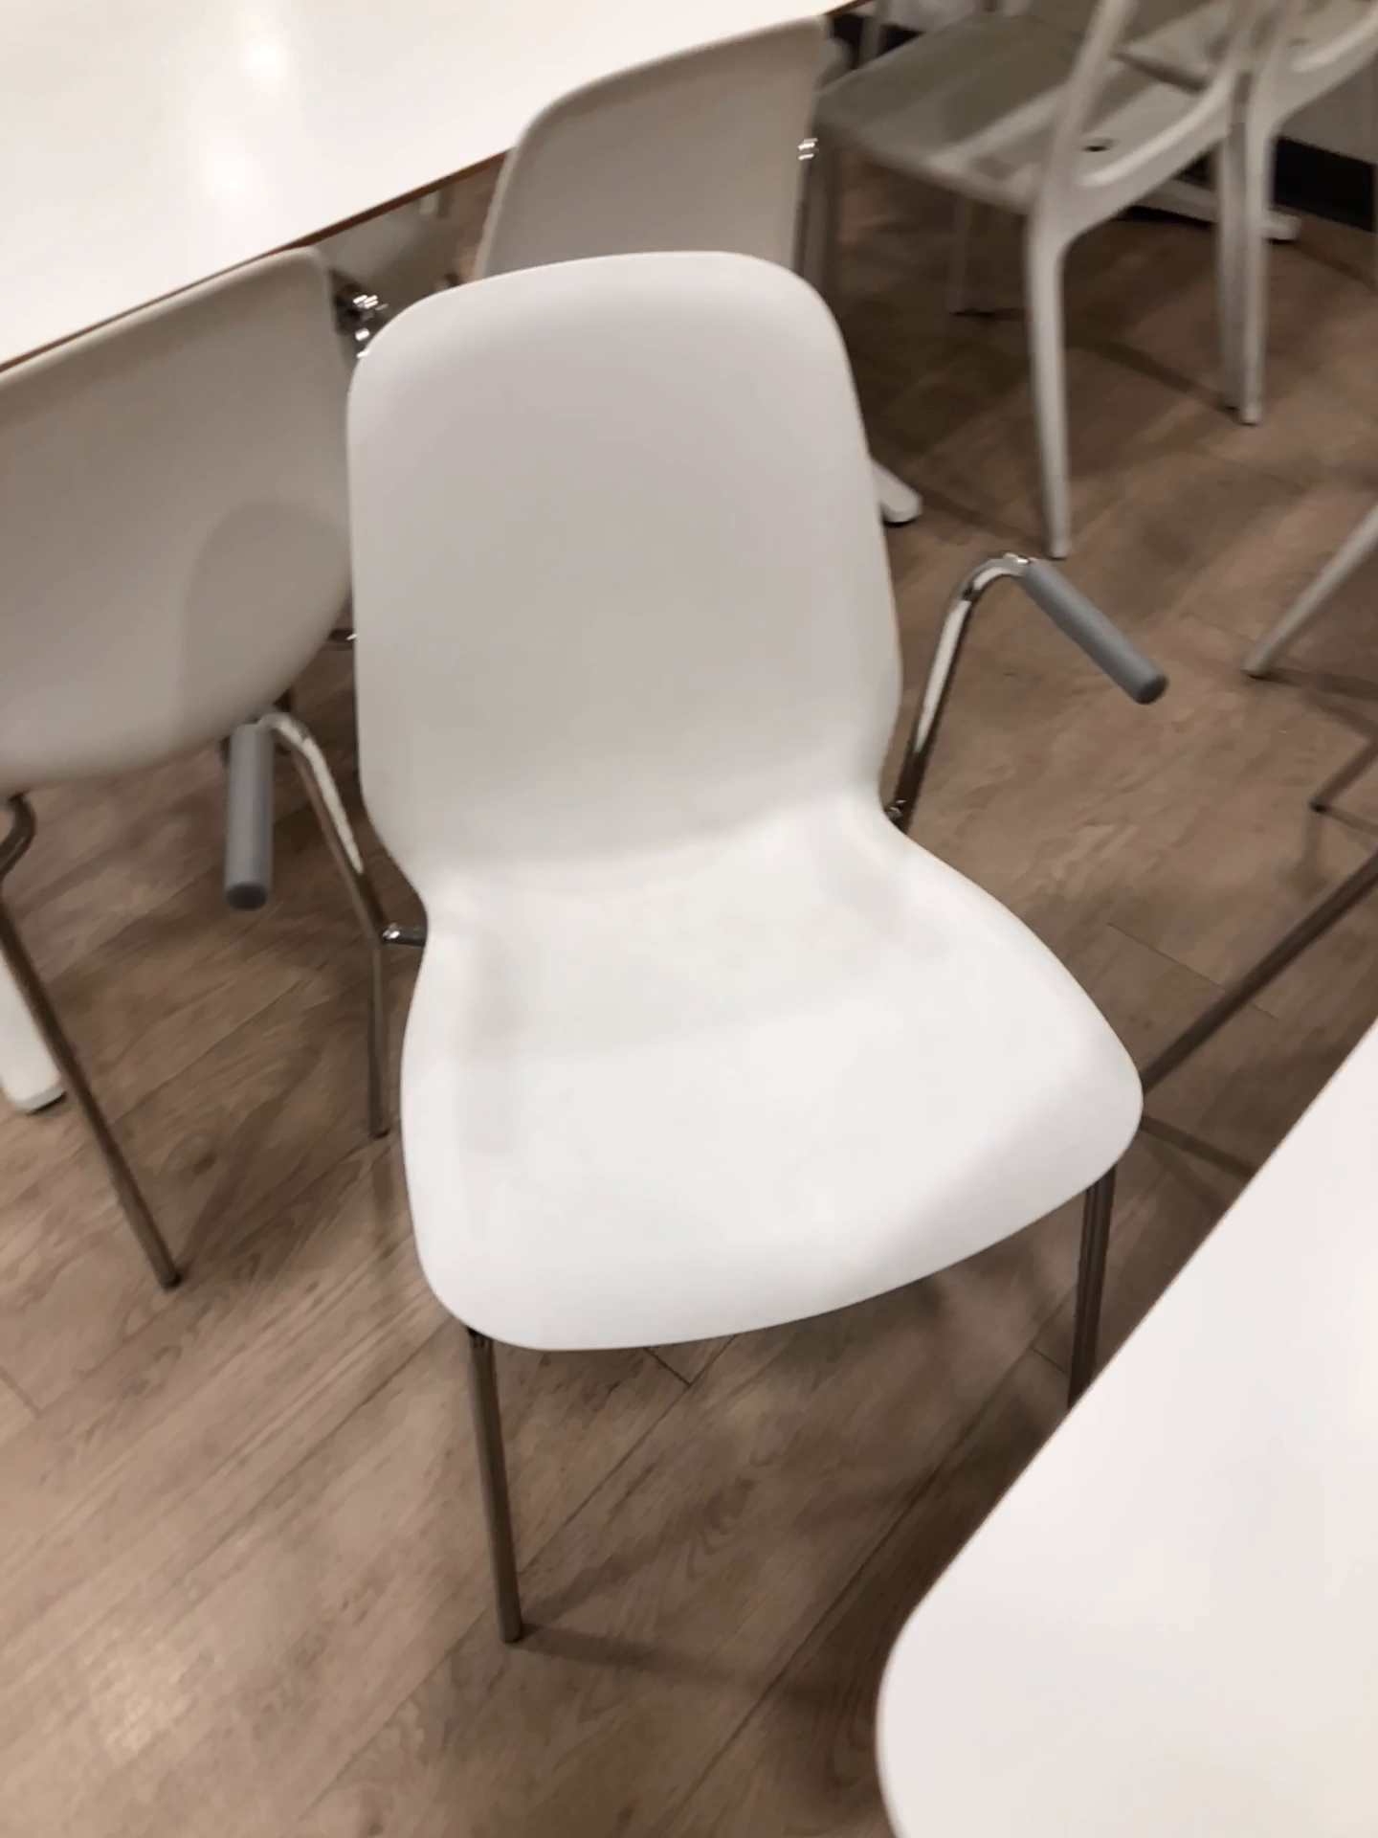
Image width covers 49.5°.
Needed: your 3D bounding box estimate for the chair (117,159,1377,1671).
[{"bbox_3d":[0.034,0.042,1.029,0.570,0.805,0.533,-13,50,-10],"label":"chair"}]
